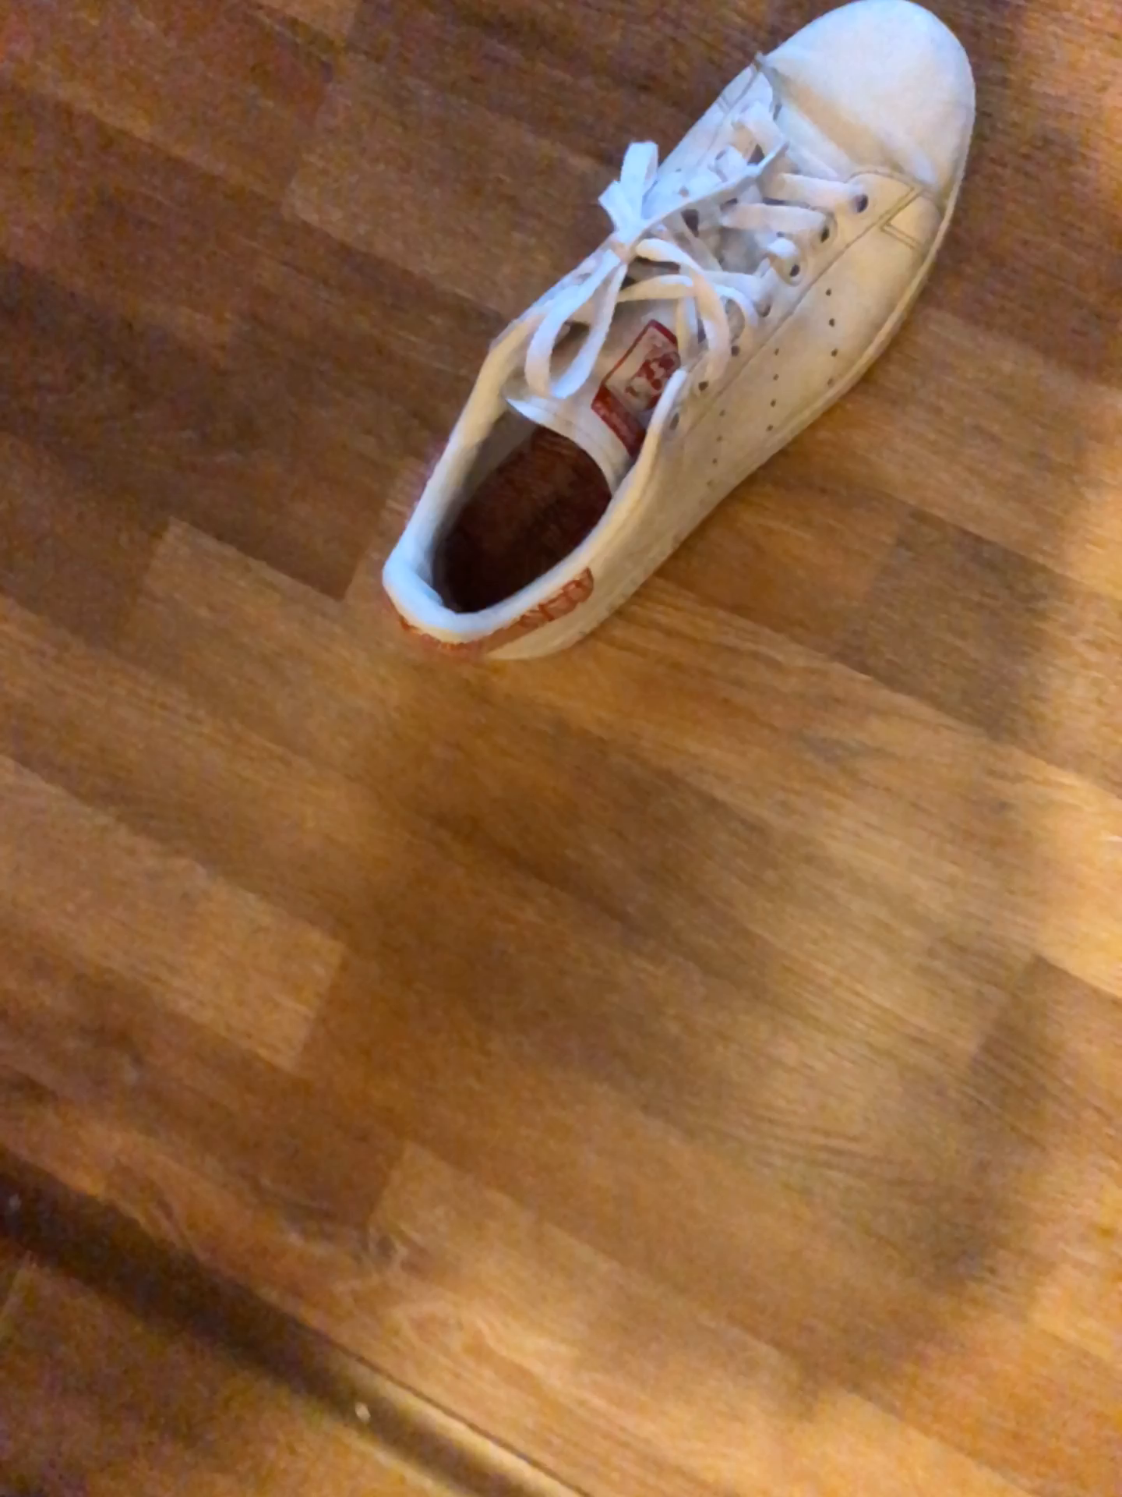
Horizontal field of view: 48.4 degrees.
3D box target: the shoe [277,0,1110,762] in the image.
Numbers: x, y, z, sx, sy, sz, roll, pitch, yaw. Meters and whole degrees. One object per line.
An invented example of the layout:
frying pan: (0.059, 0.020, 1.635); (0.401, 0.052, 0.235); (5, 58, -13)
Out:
shoe: (0.039, -0.128, 0.413); (0.100, 0.110, 0.250); (41, 102, 4)
